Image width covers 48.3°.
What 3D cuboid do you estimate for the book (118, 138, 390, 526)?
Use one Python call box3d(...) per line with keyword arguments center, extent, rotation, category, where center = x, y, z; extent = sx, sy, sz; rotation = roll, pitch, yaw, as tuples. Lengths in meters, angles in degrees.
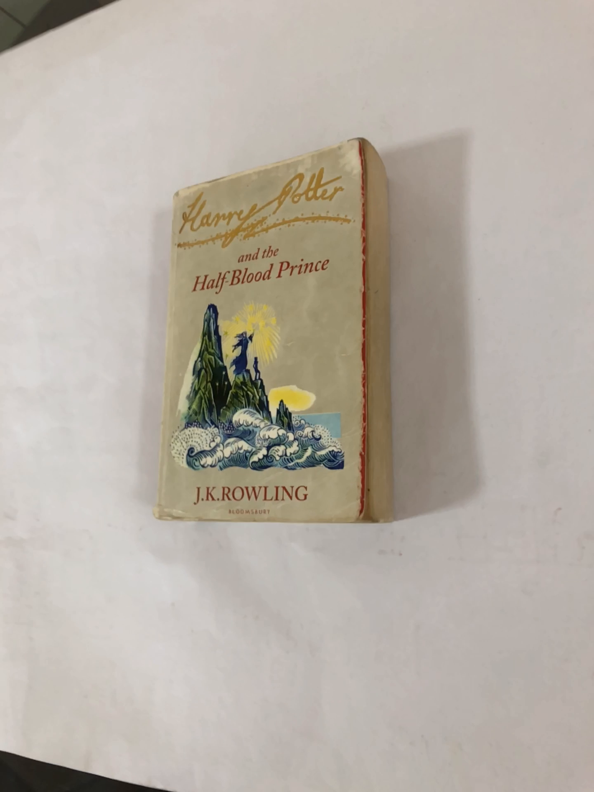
box3d(center=(-0.023, -0.024, 0.350), extent=(0.130, 0.050, 0.181), rotation=(-5, 78, 27), category="book")
